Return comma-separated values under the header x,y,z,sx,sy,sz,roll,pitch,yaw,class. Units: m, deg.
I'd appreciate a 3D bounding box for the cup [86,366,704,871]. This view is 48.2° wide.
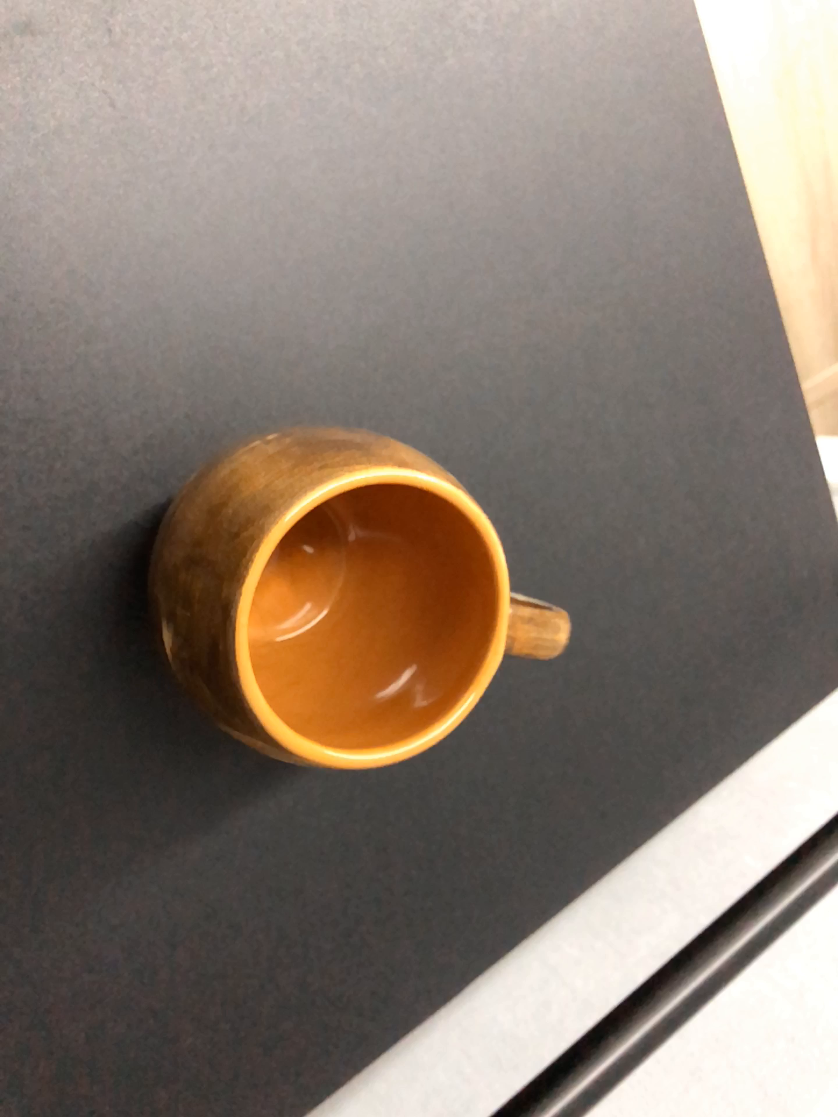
x,y,z,sx,sy,sz,roll,pitch,yaw,class
-0.010,0.016,0.274,0.132,0.092,0.092,22,88,-28,cup
